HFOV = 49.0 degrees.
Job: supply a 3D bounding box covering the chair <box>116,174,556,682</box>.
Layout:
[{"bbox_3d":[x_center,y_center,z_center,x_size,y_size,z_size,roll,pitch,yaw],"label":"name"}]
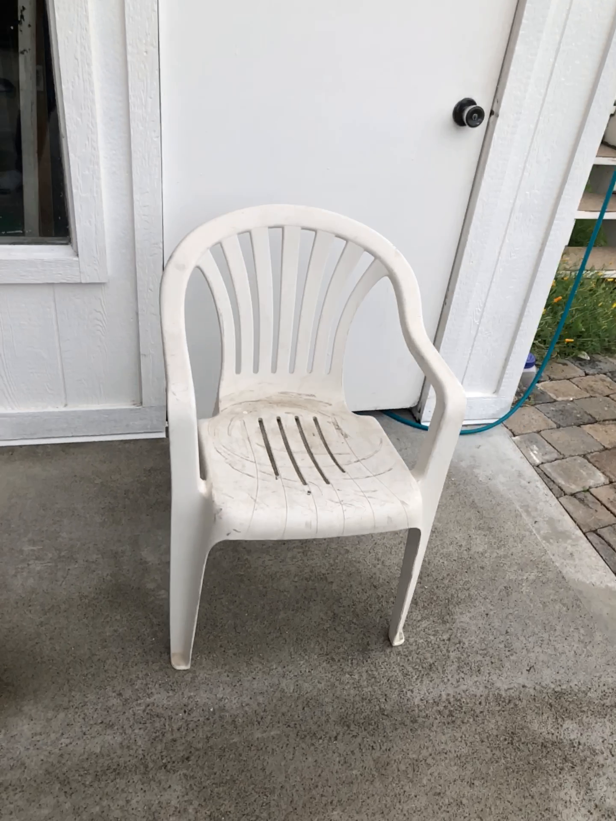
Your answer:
[{"bbox_3d":[-0.036,0.025,1.311,0.600,0.777,0.512,-3,36,-14],"label":"chair"}]
